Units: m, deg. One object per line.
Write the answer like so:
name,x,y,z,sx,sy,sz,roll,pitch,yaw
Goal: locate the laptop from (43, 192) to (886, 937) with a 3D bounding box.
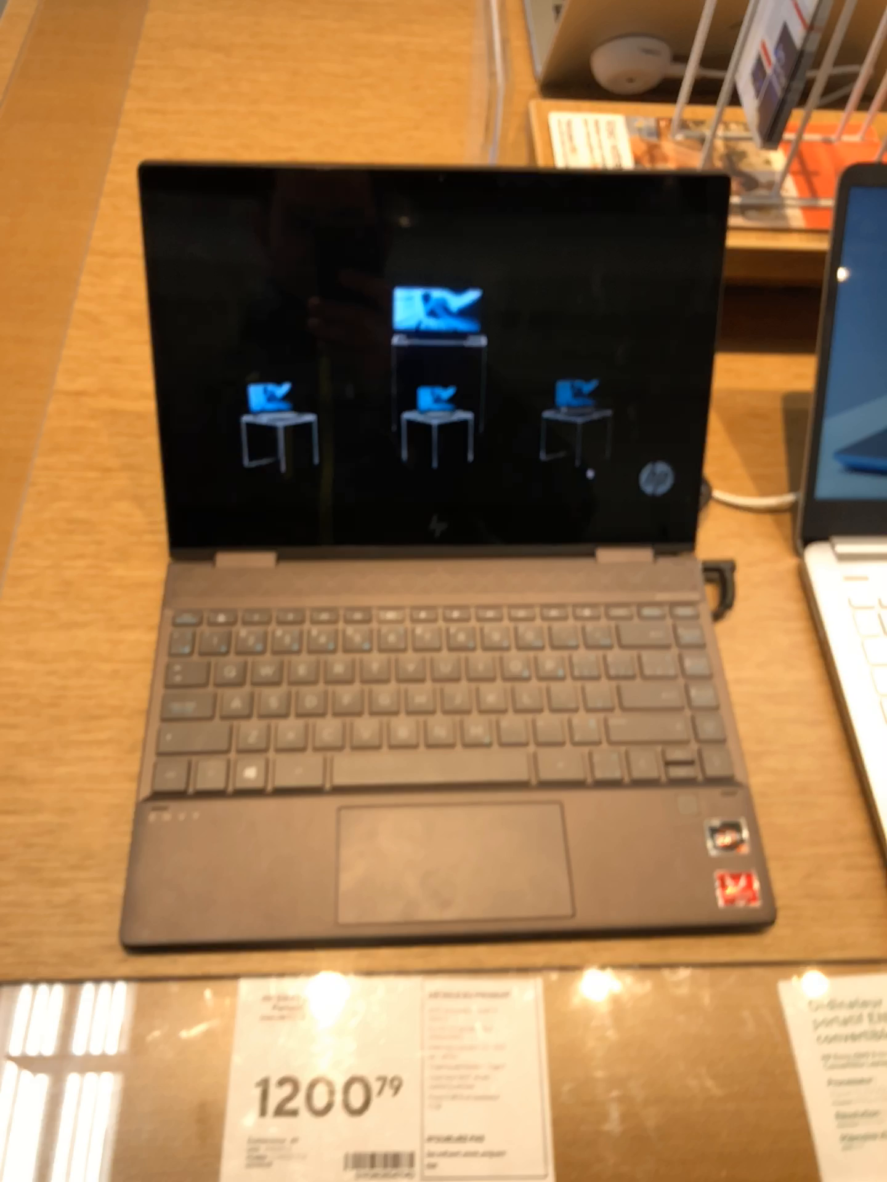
laptop,0.009,-0.023,0.479,0.293,0.163,0.318,-1,56,-4
